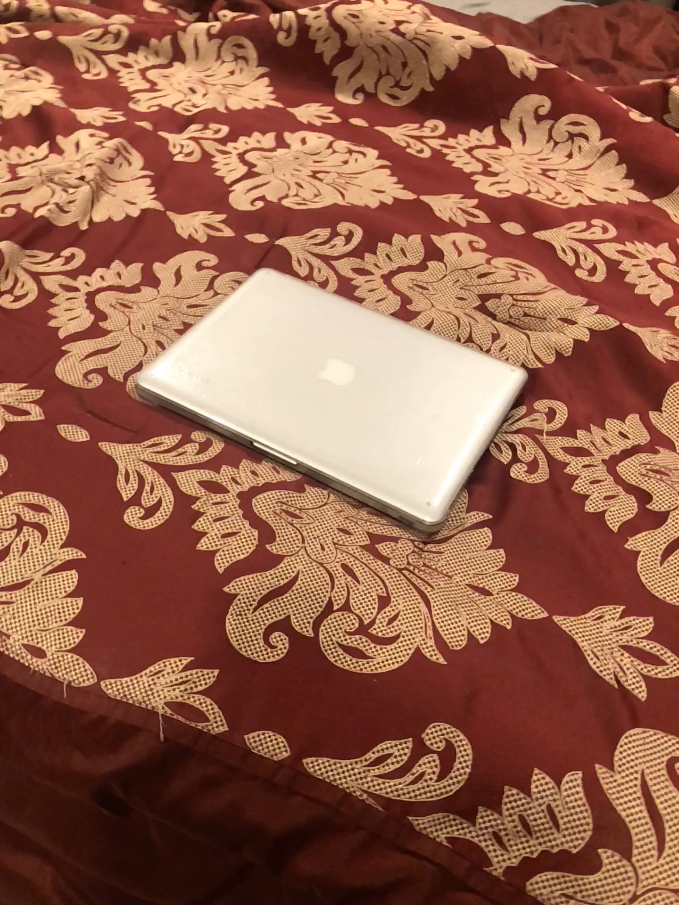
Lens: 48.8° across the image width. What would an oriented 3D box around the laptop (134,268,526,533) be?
[{"bbox_3d":[-0.006,-0.067,0.703,0.304,0.015,0.208,25,52,19],"label":"laptop"}]
